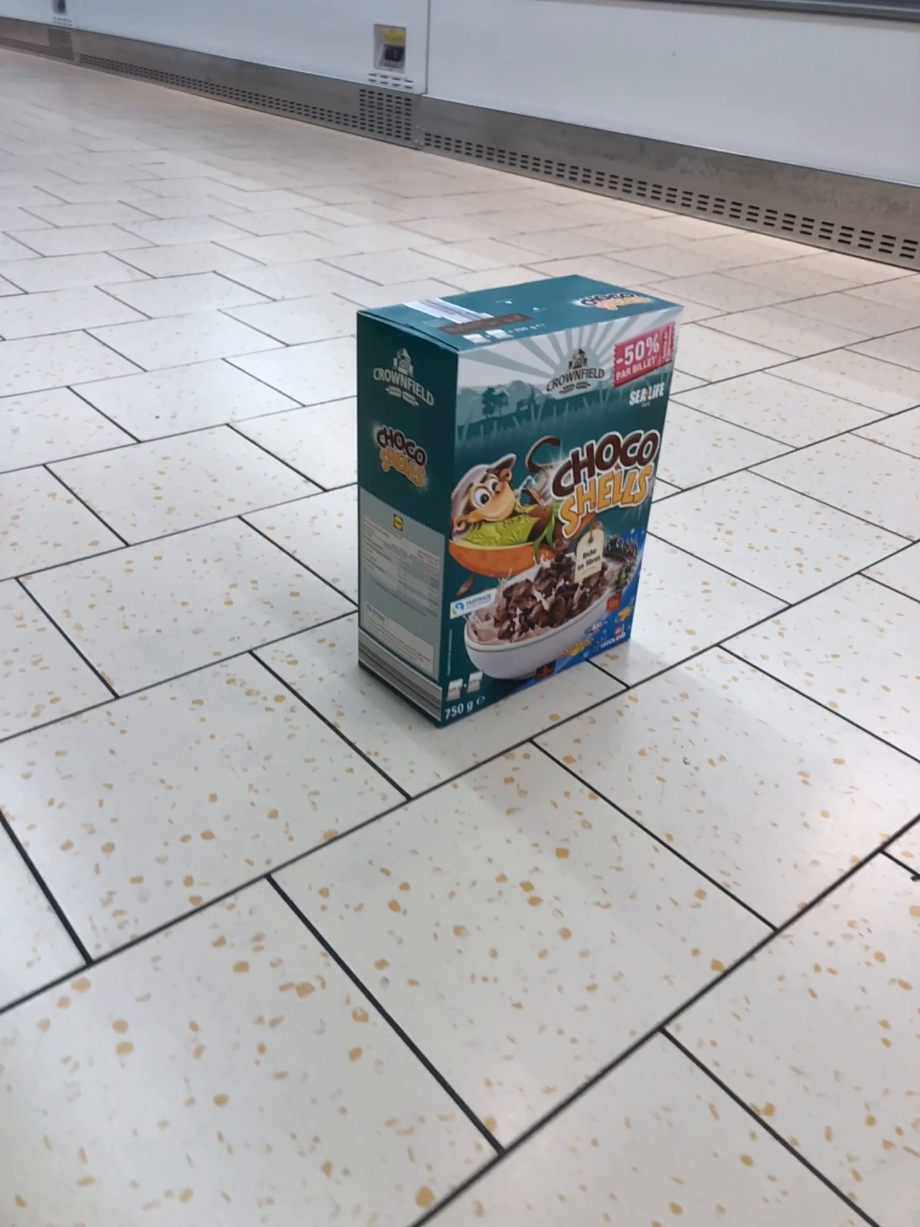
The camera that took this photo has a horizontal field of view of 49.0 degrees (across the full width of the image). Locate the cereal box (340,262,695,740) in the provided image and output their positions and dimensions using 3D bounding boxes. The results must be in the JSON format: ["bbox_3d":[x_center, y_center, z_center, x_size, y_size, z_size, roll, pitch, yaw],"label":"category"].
[{"bbox_3d":[0.034,-0.083,0.697,0.211,0.268,0.100,-21,39,-35],"label":"cereal box"}]
